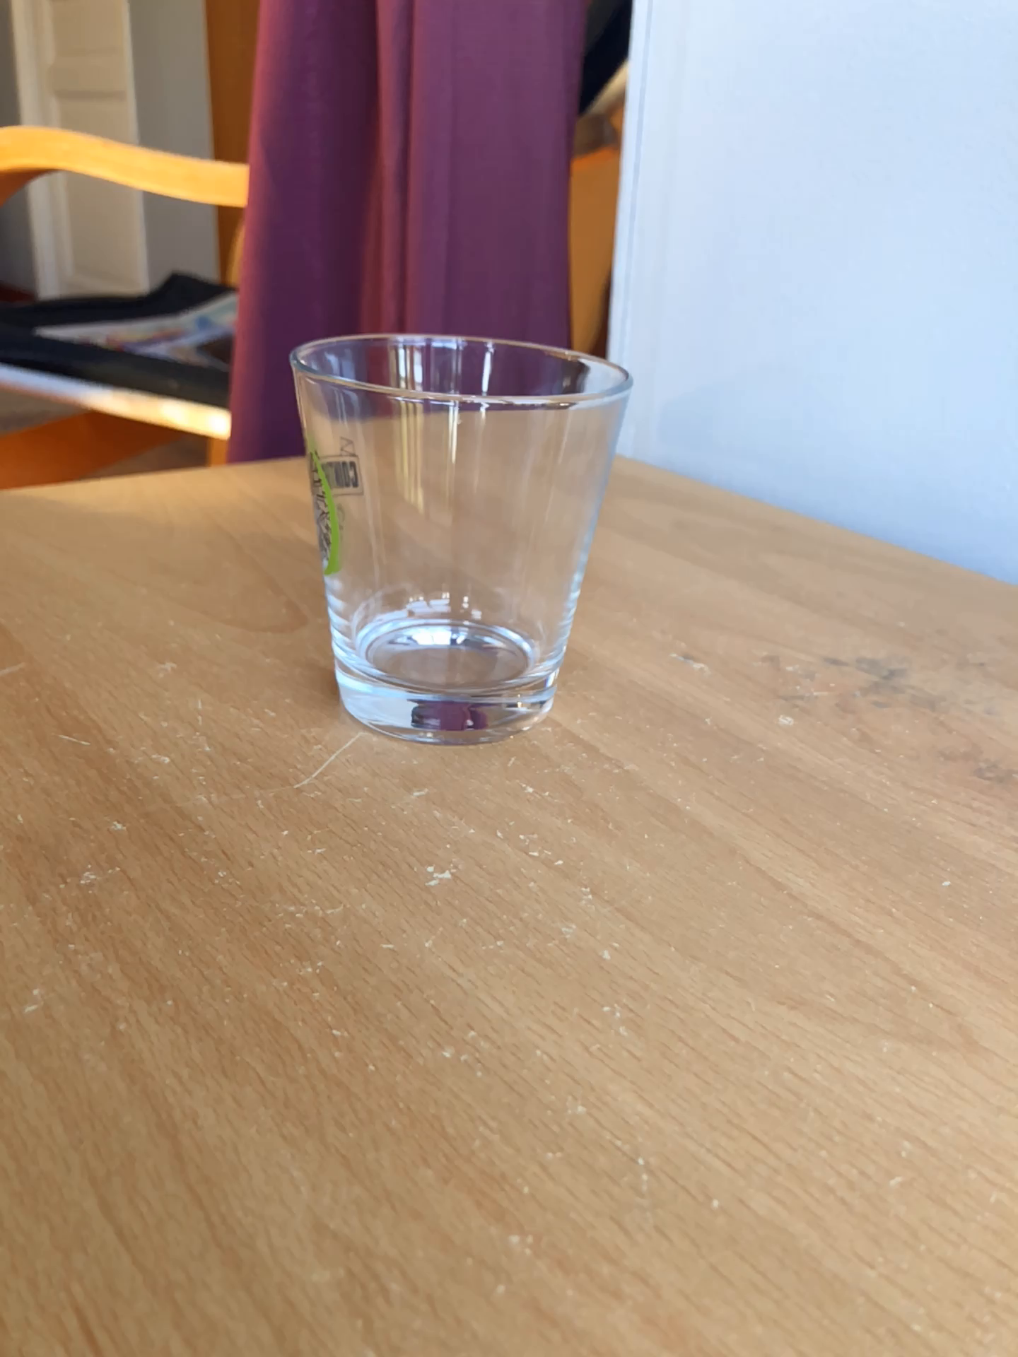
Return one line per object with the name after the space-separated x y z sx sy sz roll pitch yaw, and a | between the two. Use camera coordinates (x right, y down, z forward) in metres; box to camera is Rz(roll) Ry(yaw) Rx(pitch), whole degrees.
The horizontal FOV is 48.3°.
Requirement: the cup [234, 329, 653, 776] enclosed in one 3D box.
-0.011 -0.033 0.254 0.076 0.073 0.079 3 23 -1 | cup
